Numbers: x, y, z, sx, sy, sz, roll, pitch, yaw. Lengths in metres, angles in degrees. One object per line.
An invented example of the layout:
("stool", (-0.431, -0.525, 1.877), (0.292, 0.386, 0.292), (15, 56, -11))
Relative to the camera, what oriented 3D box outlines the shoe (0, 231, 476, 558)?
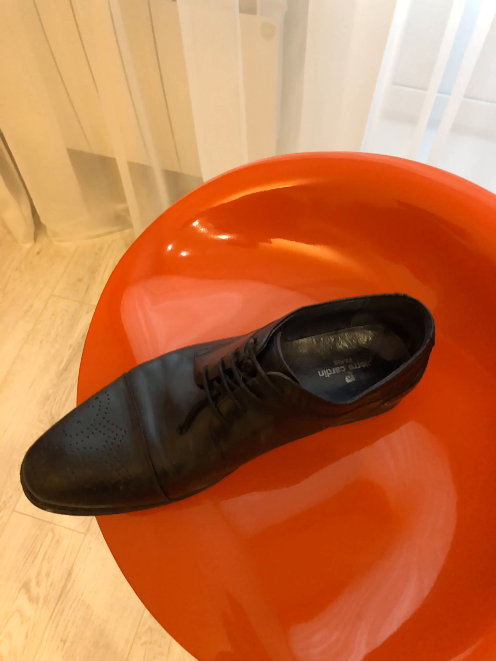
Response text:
("shoe", (-0.017, 0.040, 0.382), (0.300, 0.080, 0.121), (-17, 61, -9))
